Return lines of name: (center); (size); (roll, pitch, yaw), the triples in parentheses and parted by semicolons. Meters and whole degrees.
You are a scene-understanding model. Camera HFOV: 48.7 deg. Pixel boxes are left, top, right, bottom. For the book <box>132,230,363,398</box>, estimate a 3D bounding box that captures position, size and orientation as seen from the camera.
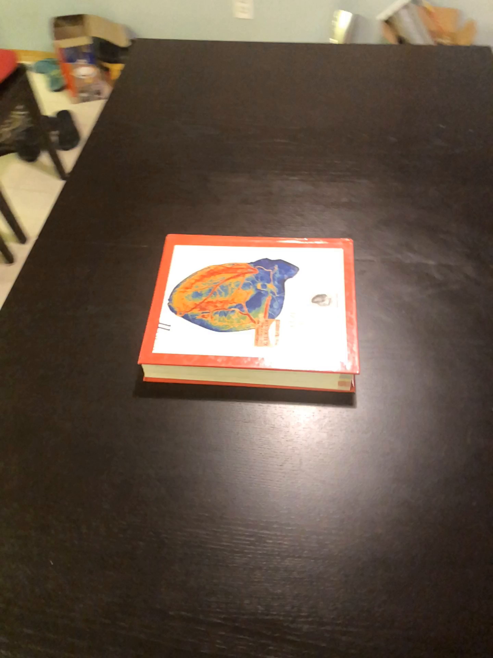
book: (0.010, -0.032, 0.776); (0.290, 0.050, 0.251); (3, 53, 4)
